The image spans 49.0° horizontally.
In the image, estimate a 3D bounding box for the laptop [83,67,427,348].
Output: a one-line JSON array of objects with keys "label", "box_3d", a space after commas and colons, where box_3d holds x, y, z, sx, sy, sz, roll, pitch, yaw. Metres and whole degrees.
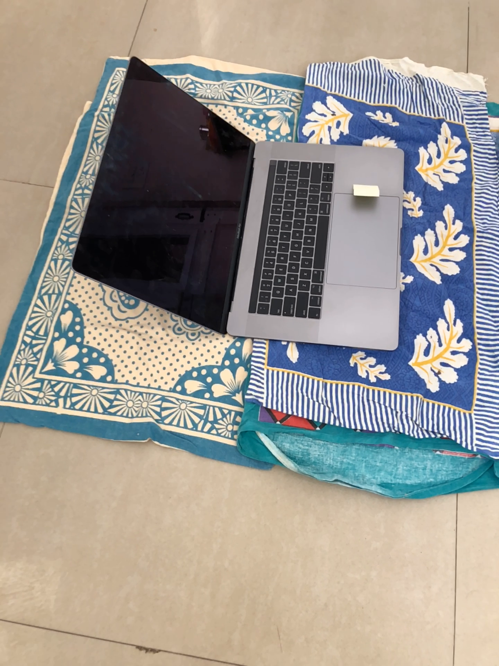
[{"label": "laptop", "box_3d": [0.021, -0.179, 0.762, 0.401, 0.132, 0.337, 6, 67, 5]}]
